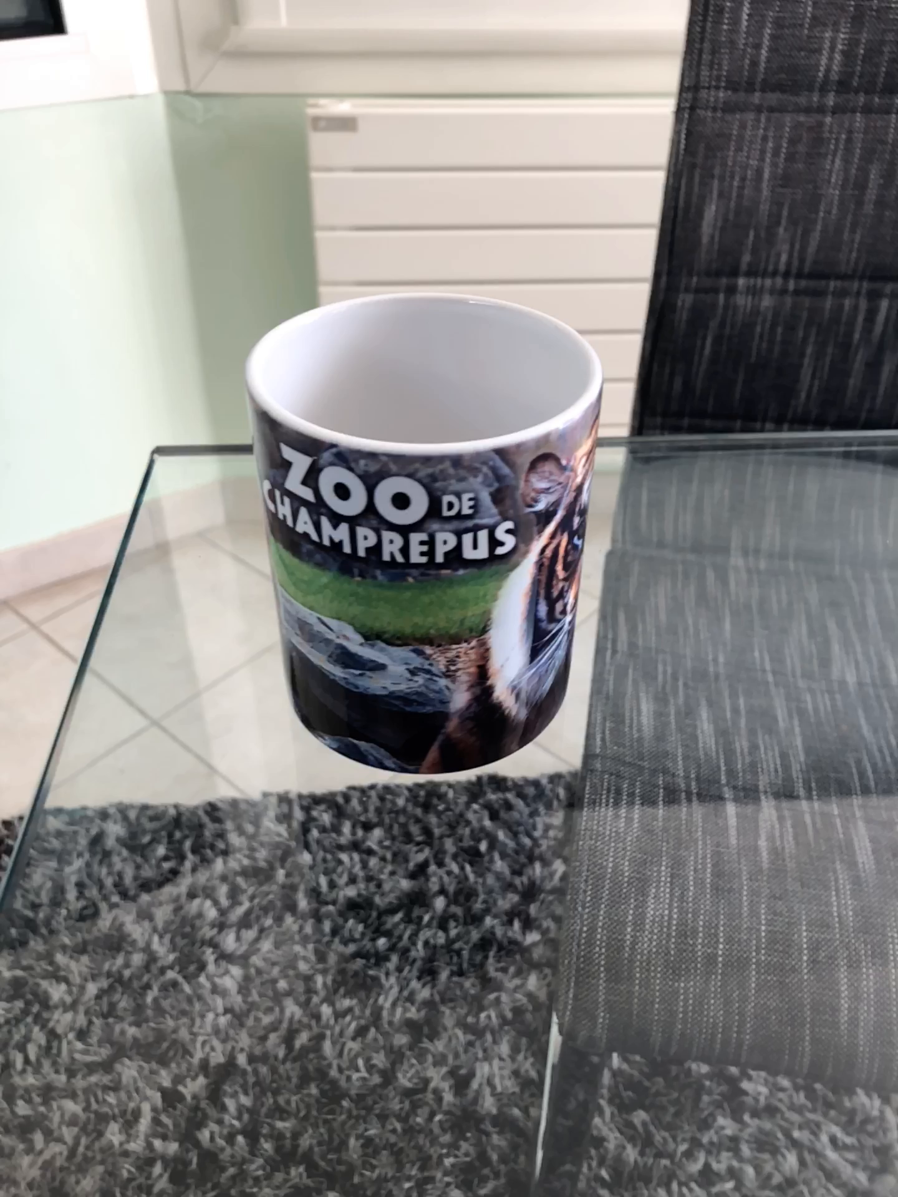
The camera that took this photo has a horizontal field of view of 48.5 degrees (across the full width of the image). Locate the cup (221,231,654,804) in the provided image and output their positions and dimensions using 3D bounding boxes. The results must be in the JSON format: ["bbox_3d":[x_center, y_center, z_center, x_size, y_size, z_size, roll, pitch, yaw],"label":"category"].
[{"bbox_3d":[-0.011,-0.028,0.257,0.080,0.089,0.121,-5,39,-7],"label":"cup"}]
